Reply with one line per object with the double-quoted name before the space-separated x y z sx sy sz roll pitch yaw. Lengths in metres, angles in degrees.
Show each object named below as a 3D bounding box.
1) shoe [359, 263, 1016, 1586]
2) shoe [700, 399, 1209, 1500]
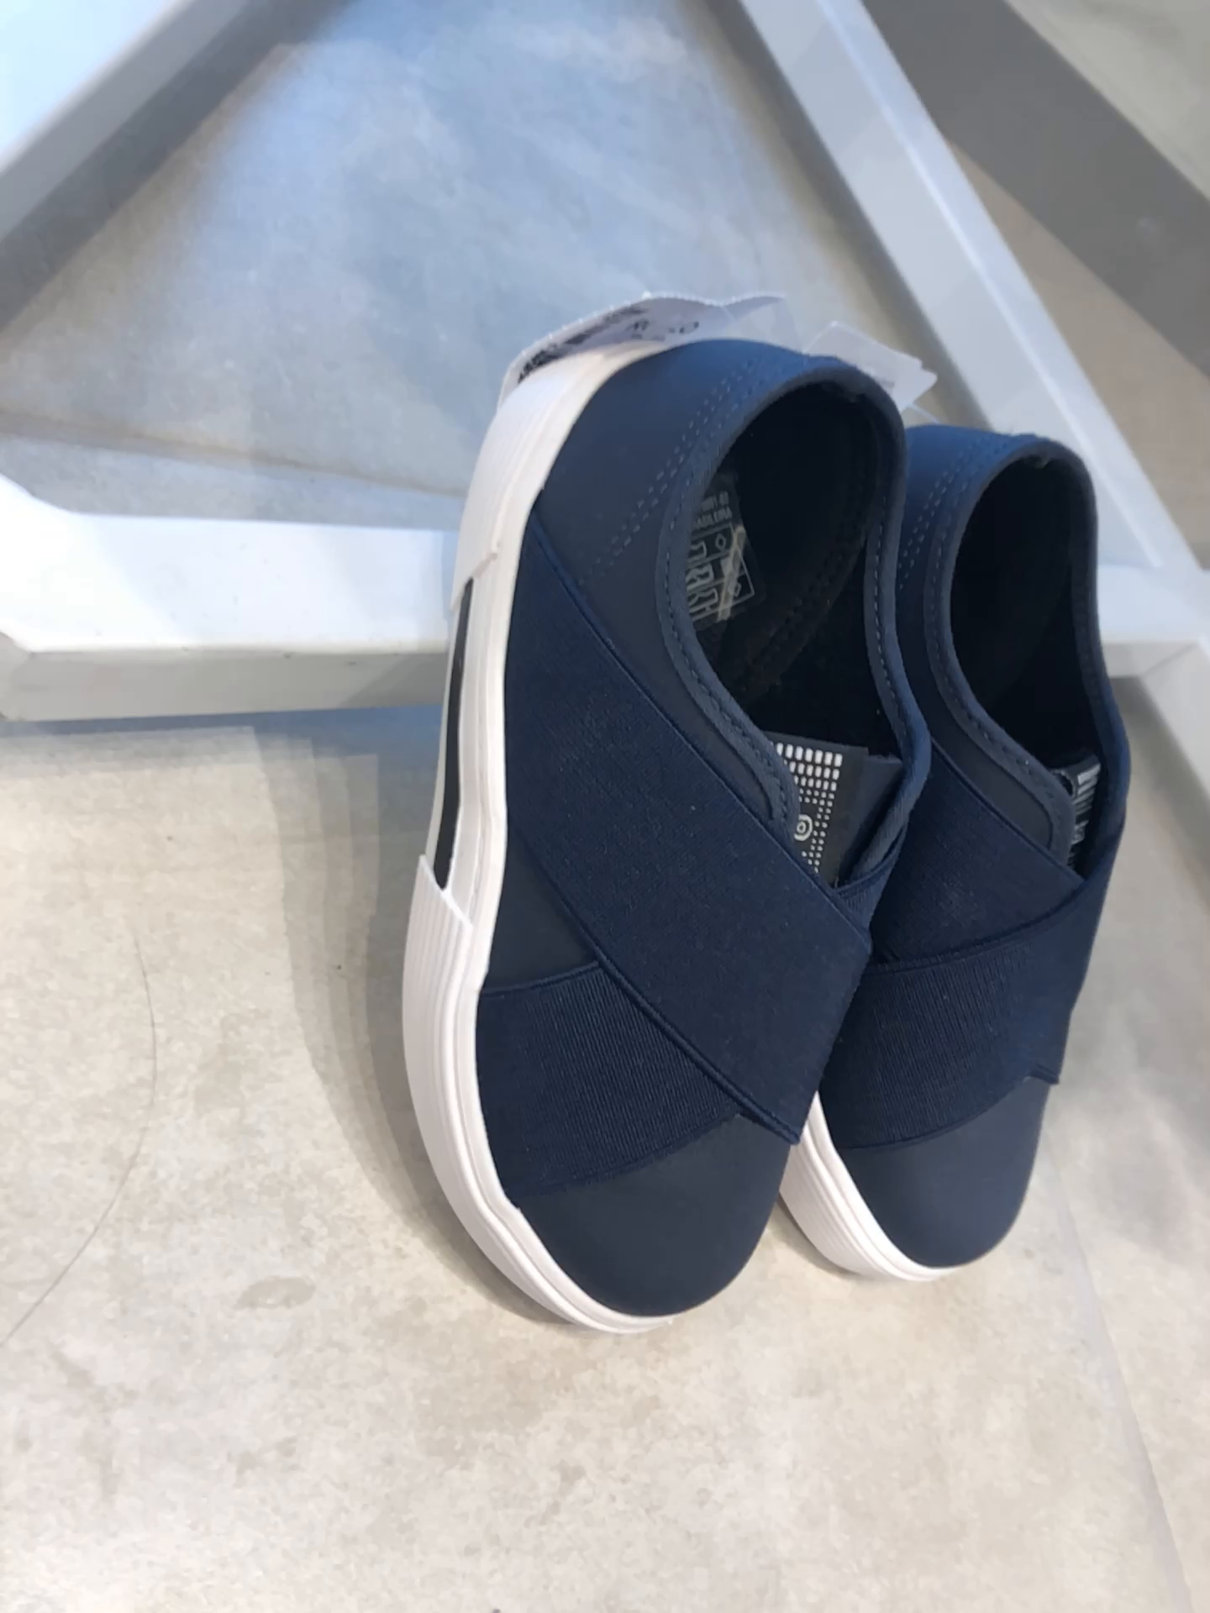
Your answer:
"shoe" 0.011 0.015 0.229 0.070 0.070 0.180 -3 99 -42
"shoe" 0.071 0.021 0.264 0.070 0.070 0.180 -5 100 -38
